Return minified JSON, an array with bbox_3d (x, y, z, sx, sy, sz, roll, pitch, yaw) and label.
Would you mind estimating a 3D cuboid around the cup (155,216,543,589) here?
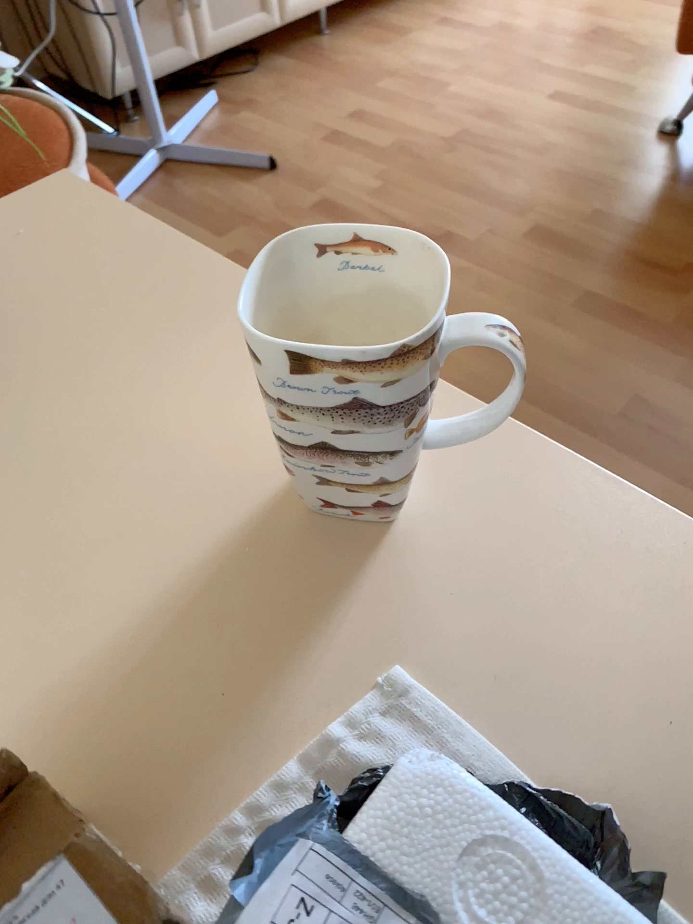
[{"bbox_3d":[0.010,-0.027,0.339,0.140,0.129,0.101,7,50,11],"label":"cup"}]
